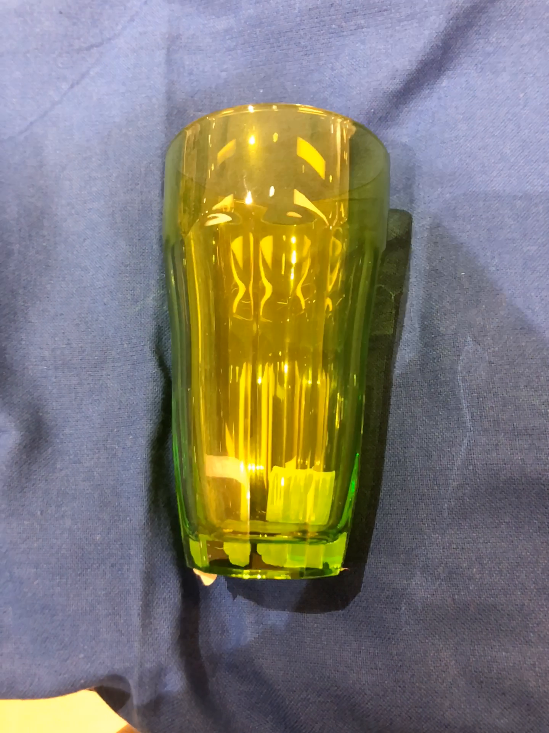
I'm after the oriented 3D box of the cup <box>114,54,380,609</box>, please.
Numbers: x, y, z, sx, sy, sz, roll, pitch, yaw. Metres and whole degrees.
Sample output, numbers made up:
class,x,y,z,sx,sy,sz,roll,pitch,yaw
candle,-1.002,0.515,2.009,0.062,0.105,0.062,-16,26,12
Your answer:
class,x,y,z,sx,sy,sz,roll,pitch,yaw
cup,-0.005,-0.010,0.209,0.070,0.070,0.160,-1,79,4
